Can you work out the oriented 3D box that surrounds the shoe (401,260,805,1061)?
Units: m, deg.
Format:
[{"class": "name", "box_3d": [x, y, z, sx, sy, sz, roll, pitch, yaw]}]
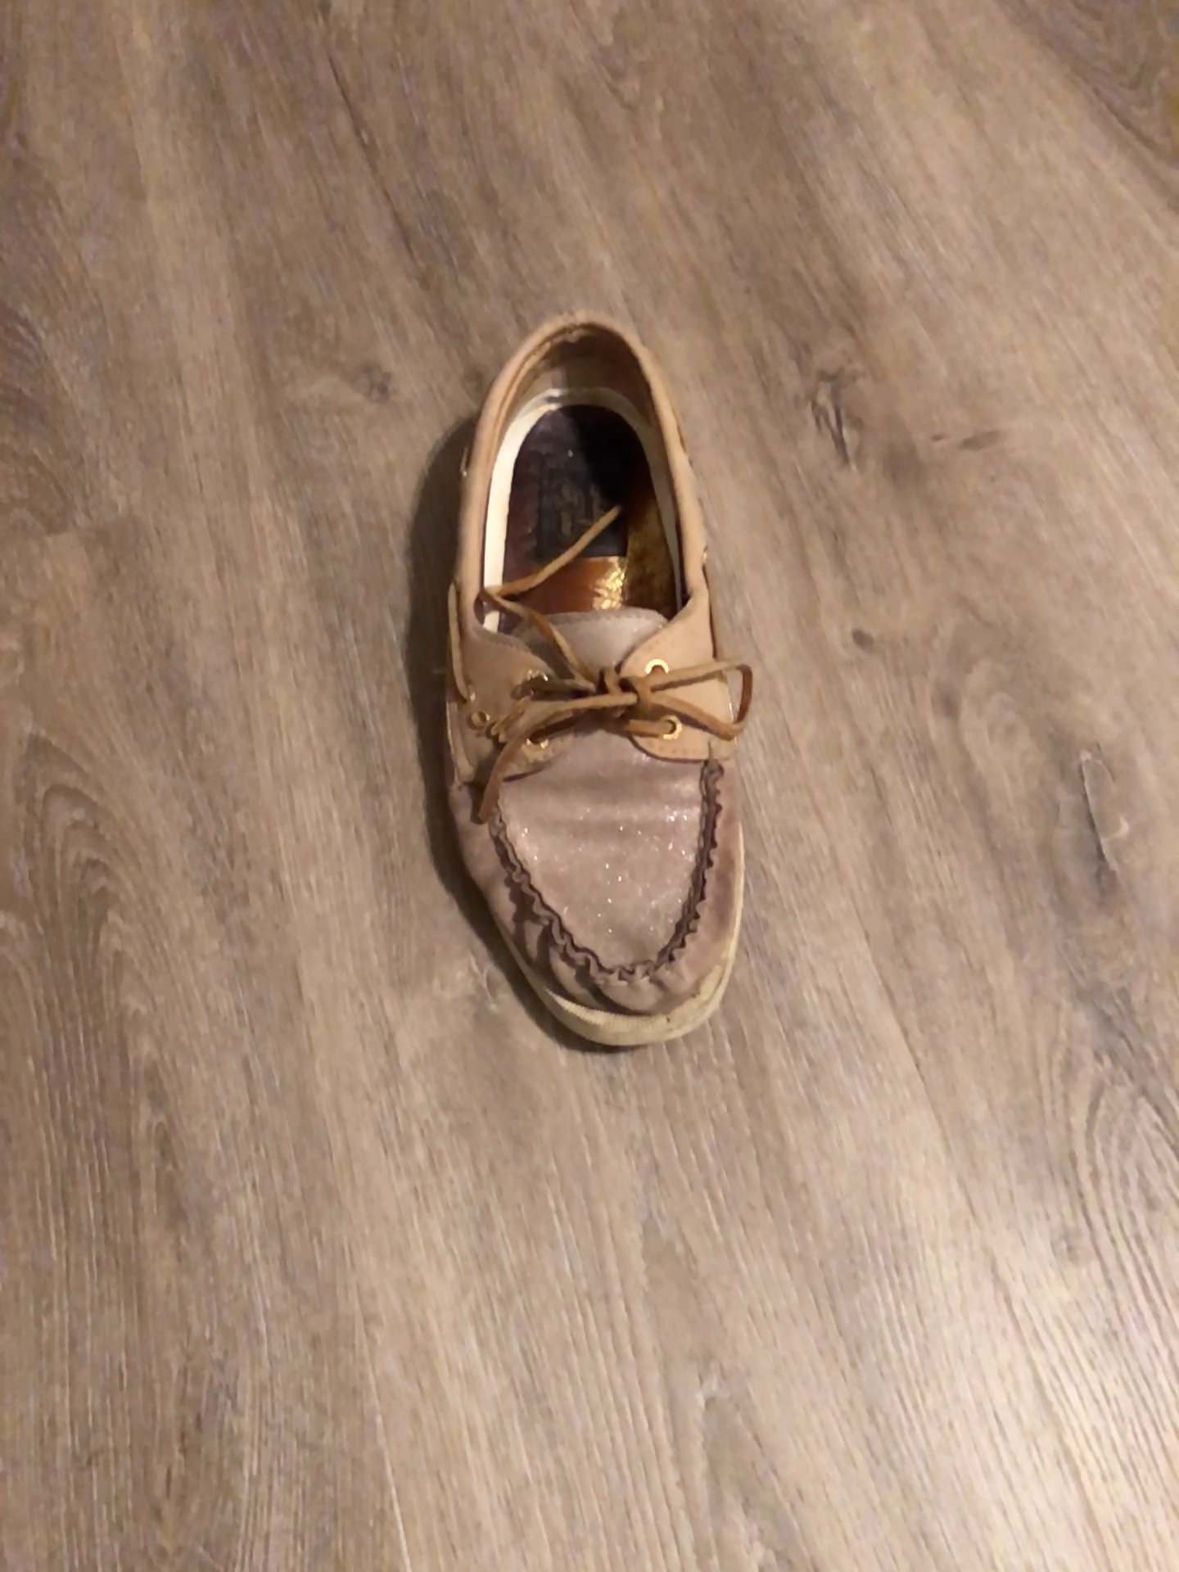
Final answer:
[{"class": "shoe", "box_3d": [-0.005, -0.047, 0.420, 0.100, 0.070, 0.250, -3, 65, -3]}]
